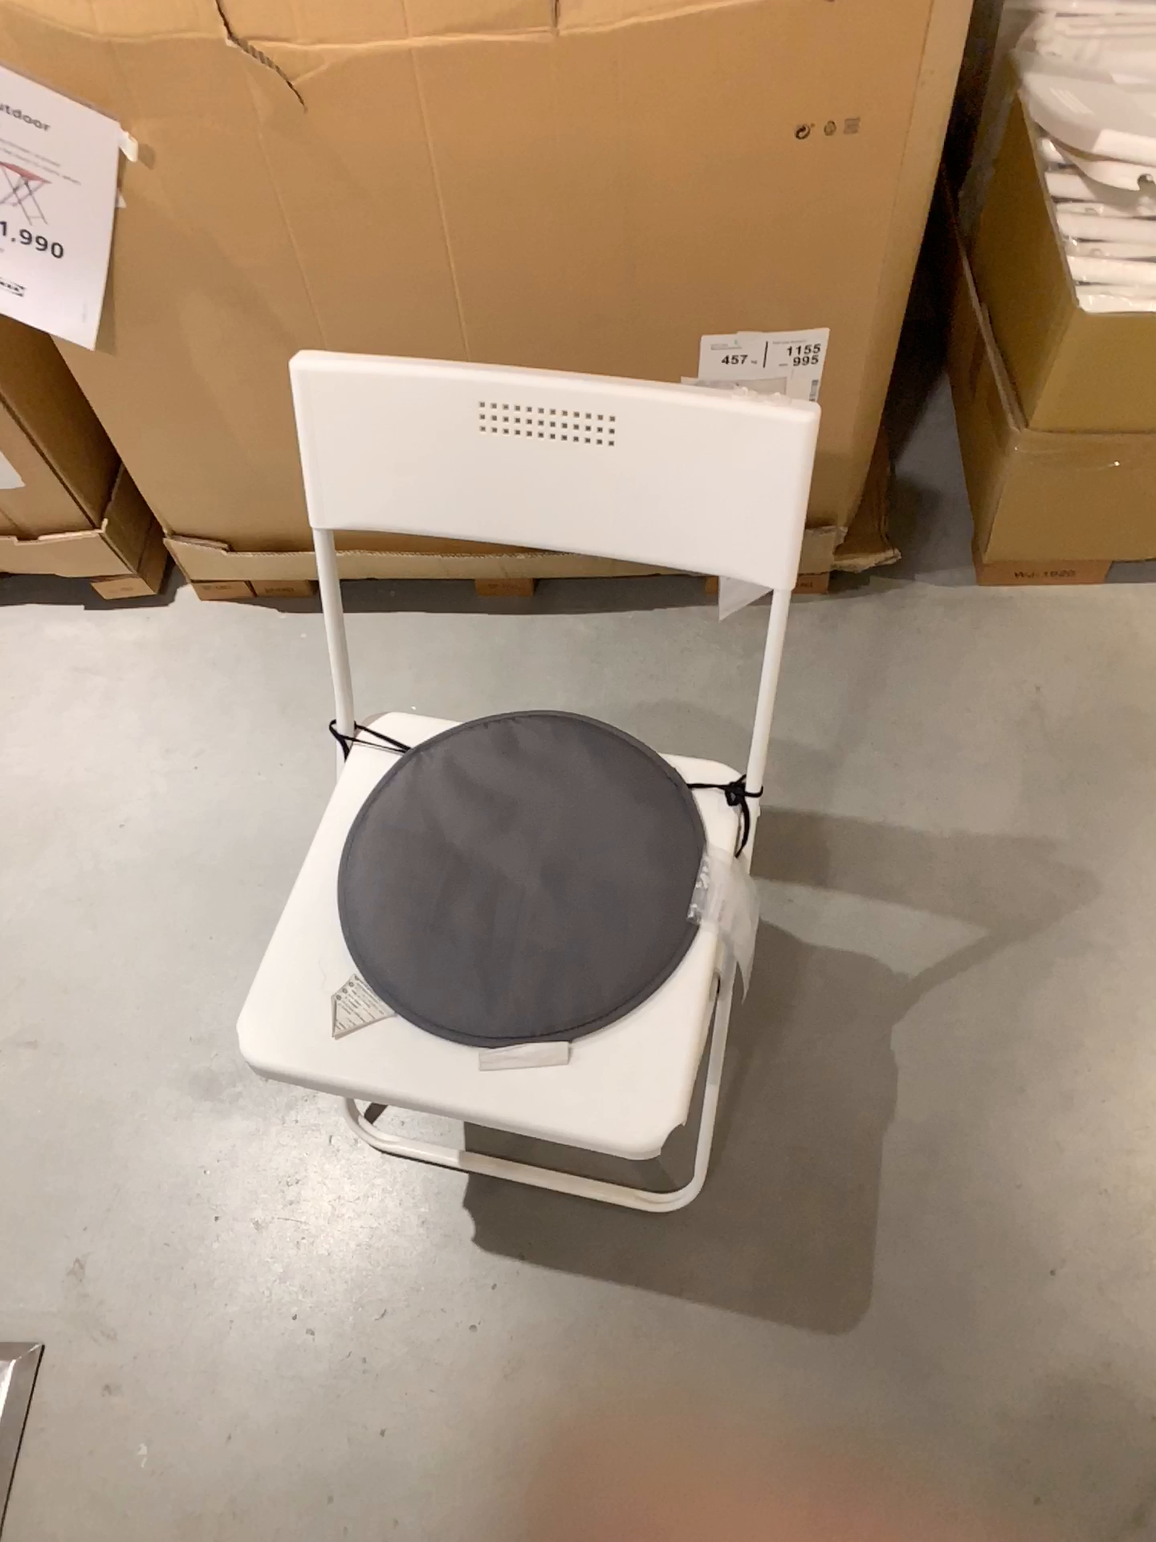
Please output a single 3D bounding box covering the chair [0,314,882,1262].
[{"bbox_3d":[-0.055,0.078,1.062,0.490,0.738,0.481,10,61,11],"label":"chair"}]
